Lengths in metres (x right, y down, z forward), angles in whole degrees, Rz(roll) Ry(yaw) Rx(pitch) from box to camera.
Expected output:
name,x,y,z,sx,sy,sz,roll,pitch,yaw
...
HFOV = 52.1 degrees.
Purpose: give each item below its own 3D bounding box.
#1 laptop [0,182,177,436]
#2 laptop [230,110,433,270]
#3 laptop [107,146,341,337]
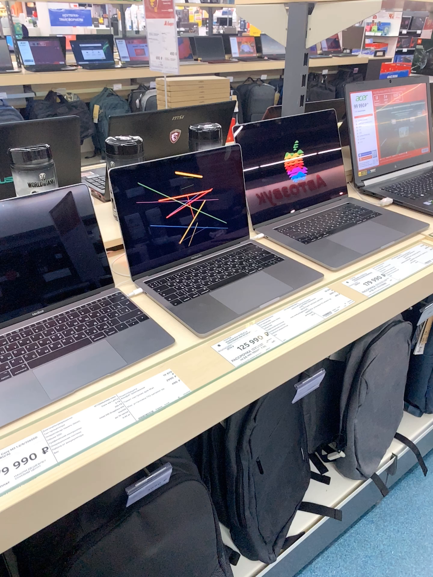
name,x,y,z,sx,sy,sz,roll,pitch,yaw
laptop,-0.250,-0.004,0.642,0.281,0.172,0.266,-23,40,-33
laptop,0.271,-0.253,1.018,0.347,0.210,0.328,-22,38,-31
laptop,0.011,-0.111,0.803,0.300,0.195,0.260,-23,39,-34
